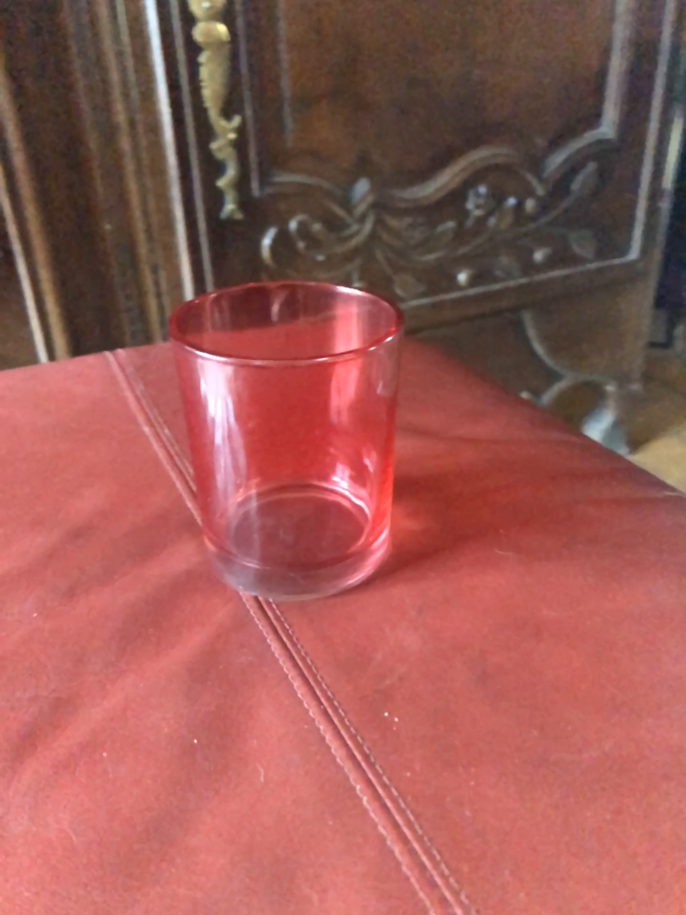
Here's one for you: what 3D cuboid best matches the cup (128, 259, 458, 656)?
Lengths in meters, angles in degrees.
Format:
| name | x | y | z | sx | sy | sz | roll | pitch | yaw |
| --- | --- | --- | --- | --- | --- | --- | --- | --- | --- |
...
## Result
| name | x | y | z | sx | sy | sz | roll | pitch | yaw |
| --- | --- | --- | --- | --- | --- | --- | --- | --- | --- |
| cup | -0.015 | -0.005 | 0.246 | 0.070 | 0.089 | 0.070 | -2 | 30 | 1 |
